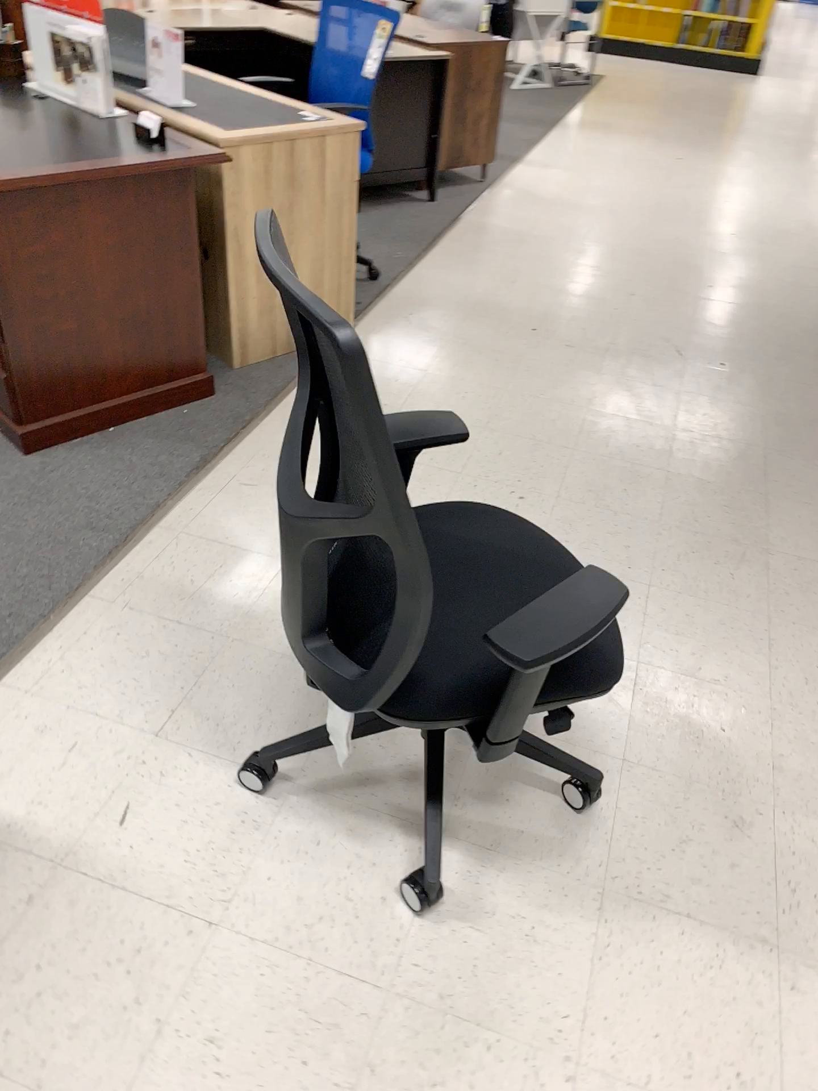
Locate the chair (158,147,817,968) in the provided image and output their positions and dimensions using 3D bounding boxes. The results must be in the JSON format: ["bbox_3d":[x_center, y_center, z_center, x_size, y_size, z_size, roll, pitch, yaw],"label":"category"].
[{"bbox_3d":[0.078,-0.019,1.356,0.731,0.995,0.703,-11,41,-21],"label":"chair"}]
